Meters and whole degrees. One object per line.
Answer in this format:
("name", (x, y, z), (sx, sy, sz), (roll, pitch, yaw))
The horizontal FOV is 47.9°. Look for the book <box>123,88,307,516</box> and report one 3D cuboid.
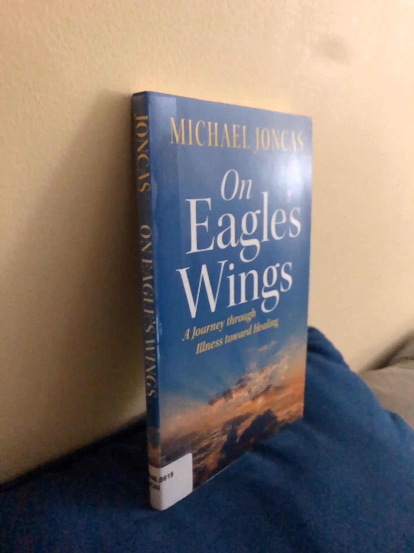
("book", (0.016, 0.010, 0.279), (0.014, 0.210, 0.140), (8, 14, 42))
